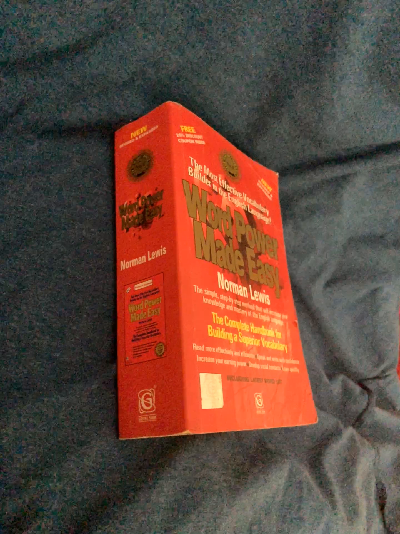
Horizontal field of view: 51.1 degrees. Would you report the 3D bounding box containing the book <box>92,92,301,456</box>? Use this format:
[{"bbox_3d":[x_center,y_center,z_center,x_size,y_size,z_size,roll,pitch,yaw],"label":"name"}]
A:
[{"bbox_3d":[0.006,0.011,0.263,0.121,0.050,0.190,27,56,-47],"label":"book"}]
